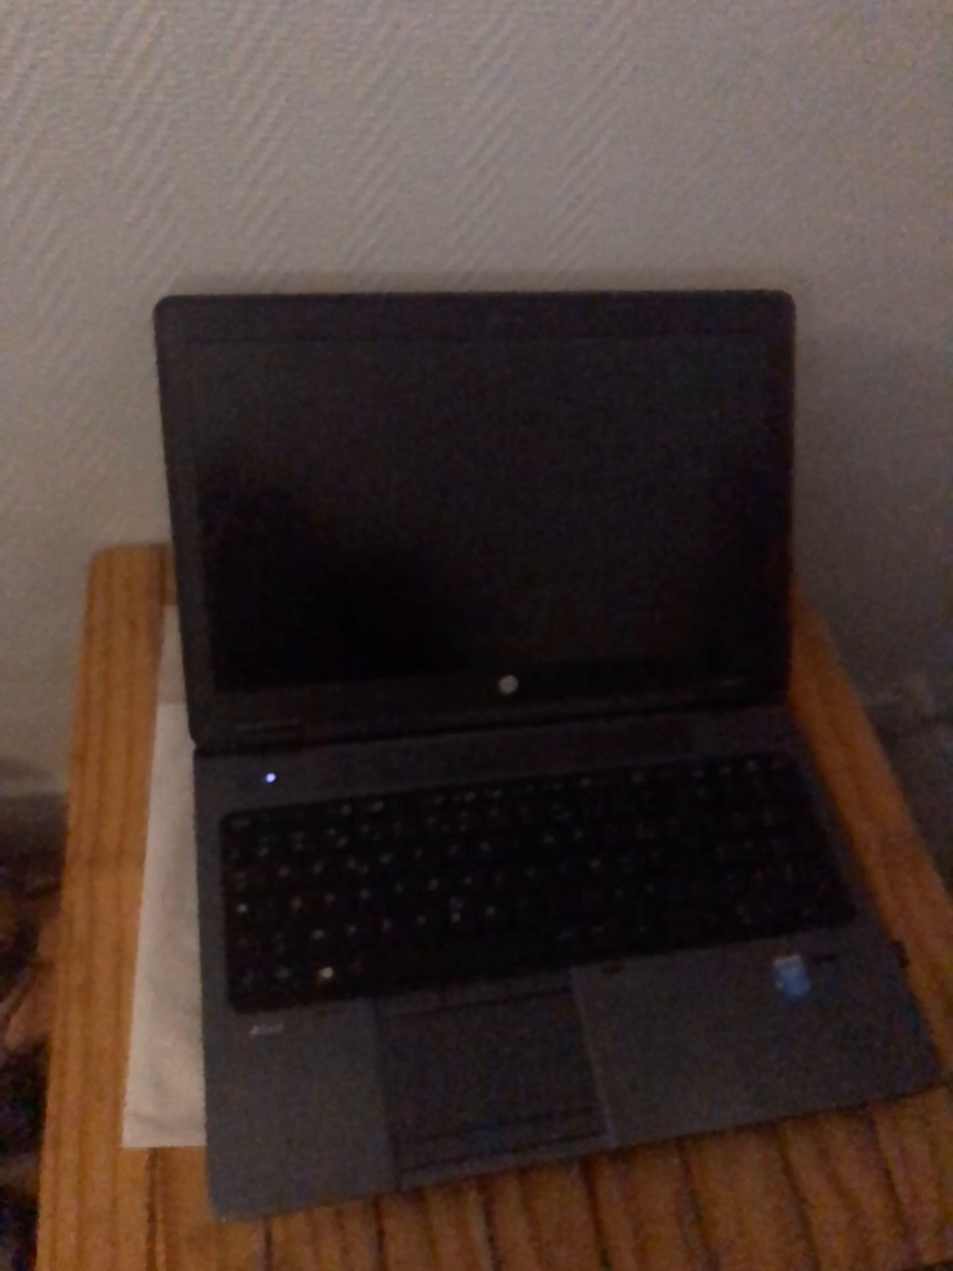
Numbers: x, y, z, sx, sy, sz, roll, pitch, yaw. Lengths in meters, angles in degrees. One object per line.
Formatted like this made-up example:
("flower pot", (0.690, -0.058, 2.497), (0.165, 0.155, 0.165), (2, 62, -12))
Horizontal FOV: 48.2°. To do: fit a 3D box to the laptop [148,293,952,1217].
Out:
("laptop", (0.037, 0.027, 0.573), (0.382, 0.196, 0.410), (-5, 53, -13))
